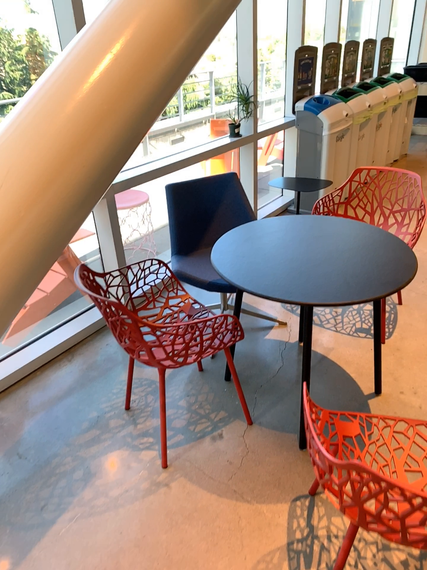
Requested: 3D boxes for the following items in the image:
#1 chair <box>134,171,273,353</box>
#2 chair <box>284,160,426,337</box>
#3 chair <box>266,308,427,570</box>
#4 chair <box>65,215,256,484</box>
[{"bbox_3d":[-0.050,-0.151,2.430,0.560,0.765,0.513,-15,31,-20],"label":"chair"},{"bbox_3d":[0.795,-0.243,2.514,0.551,0.765,0.562,16,35,31],"label":"chair"},{"bbox_3d":[0.450,0.546,1.149,0.560,0.765,0.533,4,30,12],"label":"chair"},{"bbox_3d":[-0.201,0.218,1.759,0.531,0.765,0.563,-16,31,-21],"label":"chair"}]
